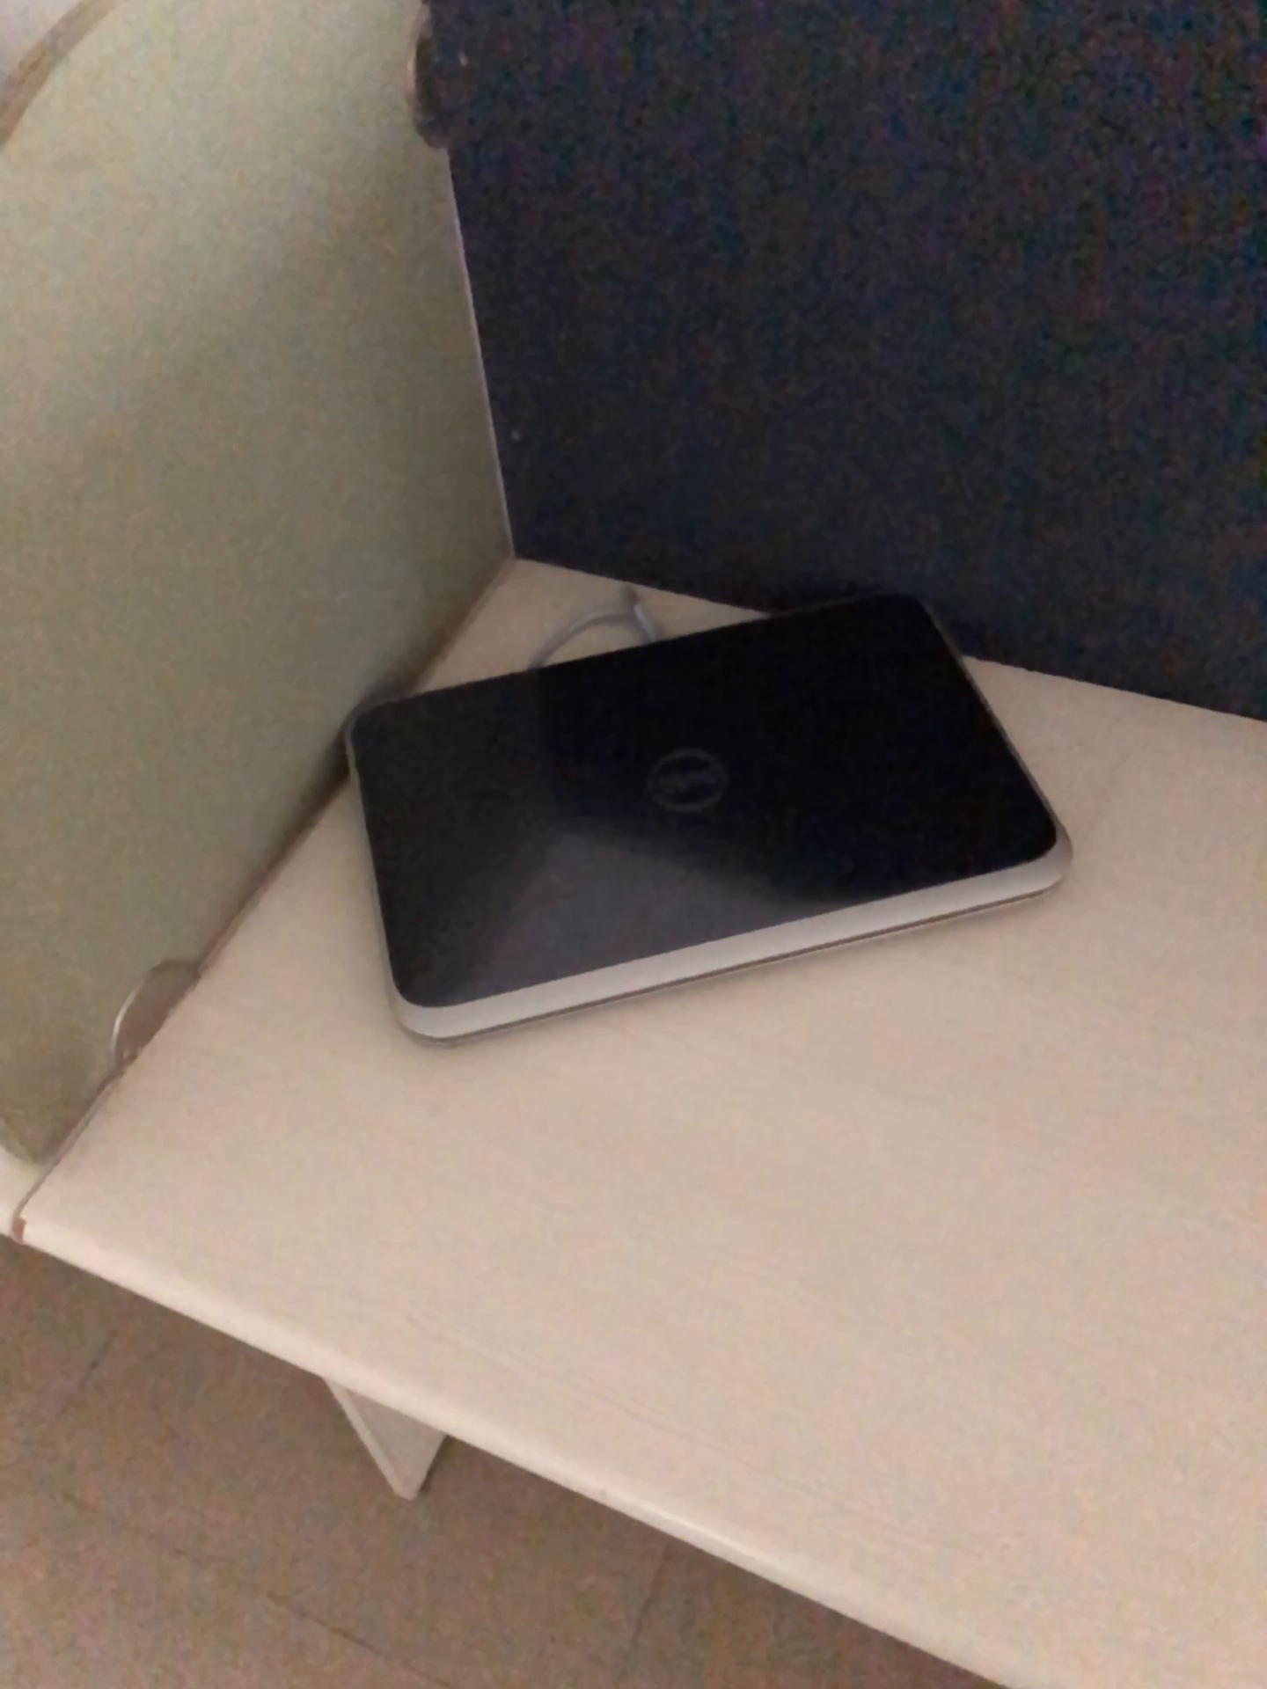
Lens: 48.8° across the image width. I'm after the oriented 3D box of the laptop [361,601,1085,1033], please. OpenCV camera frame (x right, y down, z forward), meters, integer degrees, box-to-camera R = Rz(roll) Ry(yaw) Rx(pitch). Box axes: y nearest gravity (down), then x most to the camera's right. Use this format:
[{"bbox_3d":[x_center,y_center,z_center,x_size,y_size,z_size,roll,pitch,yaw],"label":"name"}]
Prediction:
[{"bbox_3d":[0.035,-0.030,0.838,0.371,0.010,0.247,-13,49,-3],"label":"laptop"}]
